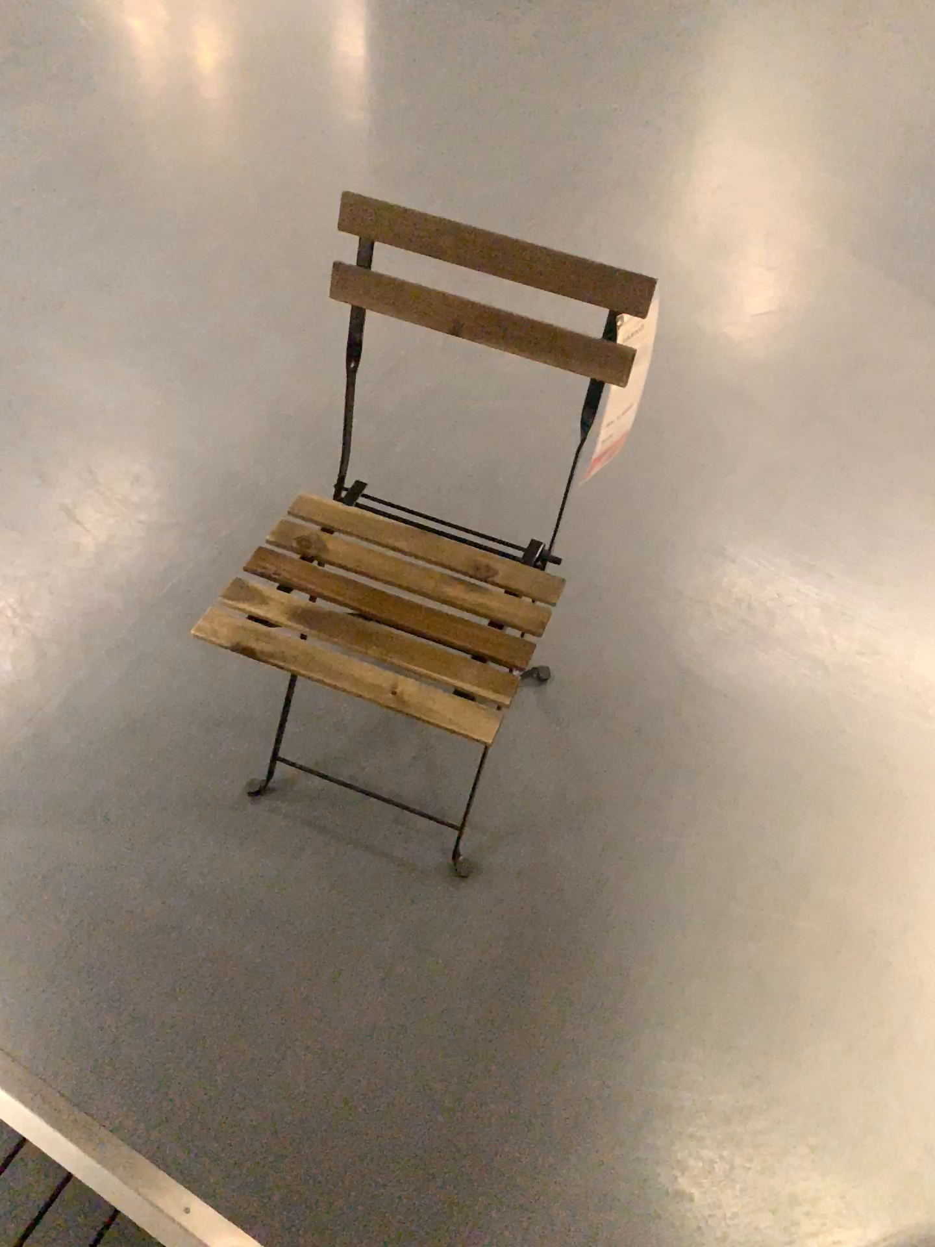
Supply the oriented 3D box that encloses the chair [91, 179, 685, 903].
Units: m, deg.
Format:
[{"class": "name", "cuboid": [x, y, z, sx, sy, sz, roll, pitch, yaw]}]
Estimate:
[{"class": "chair", "cuboid": [-0.066, -0.069, 1.233, 0.420, 0.698, 0.501, 20, 55, 11]}]
